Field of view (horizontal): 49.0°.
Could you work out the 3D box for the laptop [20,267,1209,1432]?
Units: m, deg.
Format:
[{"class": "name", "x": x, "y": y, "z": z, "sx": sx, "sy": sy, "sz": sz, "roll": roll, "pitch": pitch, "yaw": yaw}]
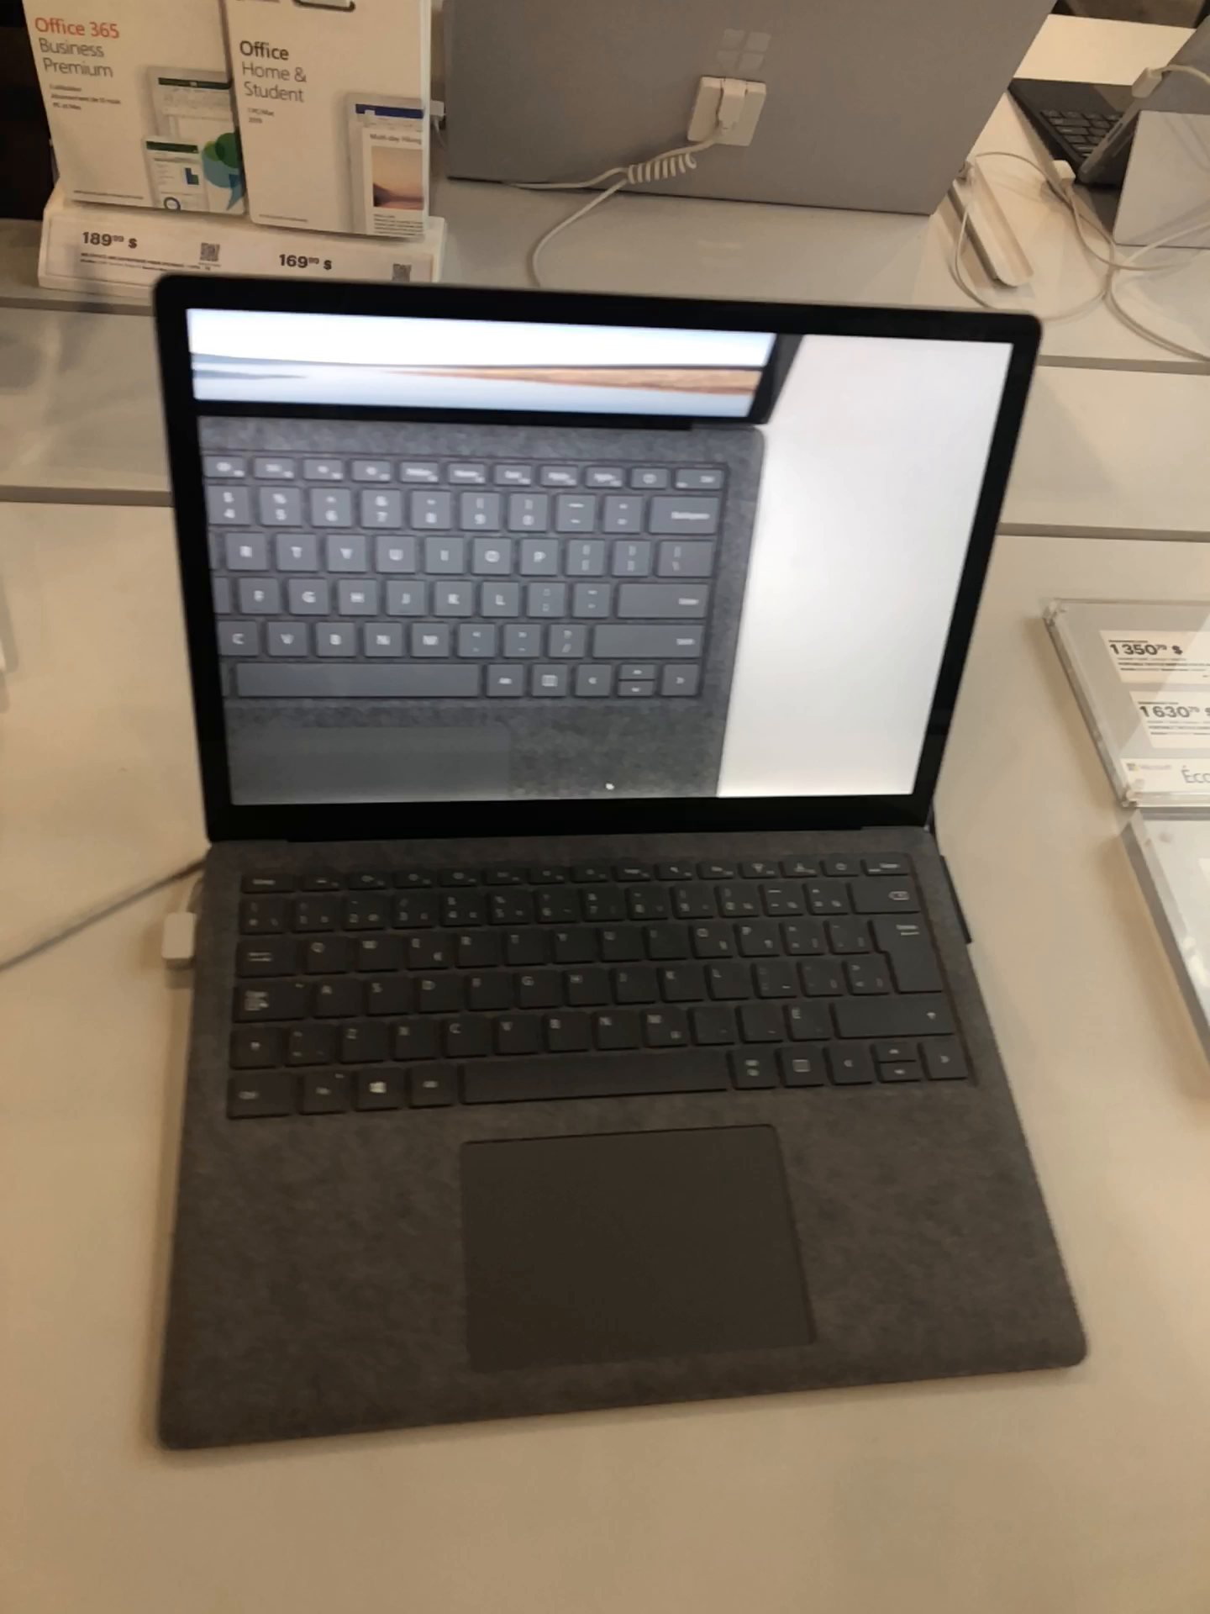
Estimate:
[{"class": "laptop", "x": 0.010, "y": 0.007, "z": 0.434, "sx": 0.297, "sy": 0.197, "sz": 0.296, "roll": -1, "pitch": 53, "yaw": -10}]
